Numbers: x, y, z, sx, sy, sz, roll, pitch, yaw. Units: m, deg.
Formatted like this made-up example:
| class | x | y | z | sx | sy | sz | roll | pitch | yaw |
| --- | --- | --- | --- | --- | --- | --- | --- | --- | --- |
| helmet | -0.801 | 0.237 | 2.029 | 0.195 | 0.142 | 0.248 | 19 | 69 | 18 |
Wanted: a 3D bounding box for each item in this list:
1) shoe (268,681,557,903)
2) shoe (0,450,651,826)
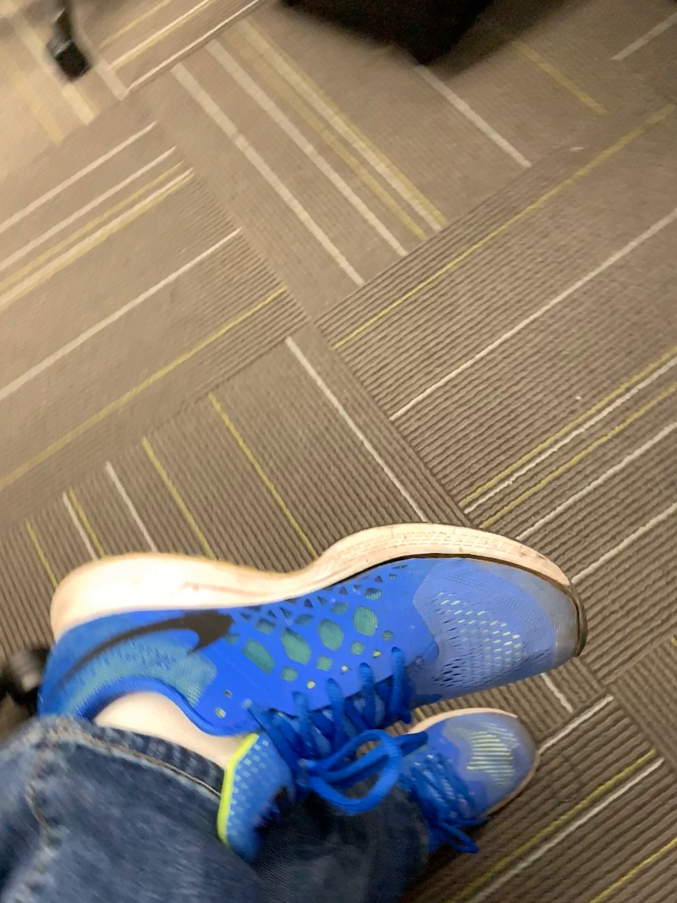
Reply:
| class | x | y | z | sx | sy | sz | roll | pitch | yaw |
| --- | --- | --- | --- | --- | --- | --- | --- | --- | --- |
| shoe | 0.079 | 0.369 | 0.746 | 0.283 | 0.086 | 0.101 | -32 | 66 | -1 |
| shoe | -0.004 | 0.102 | 0.359 | 0.275 | 0.117 | 0.103 | -11 | 43 | 9 |
